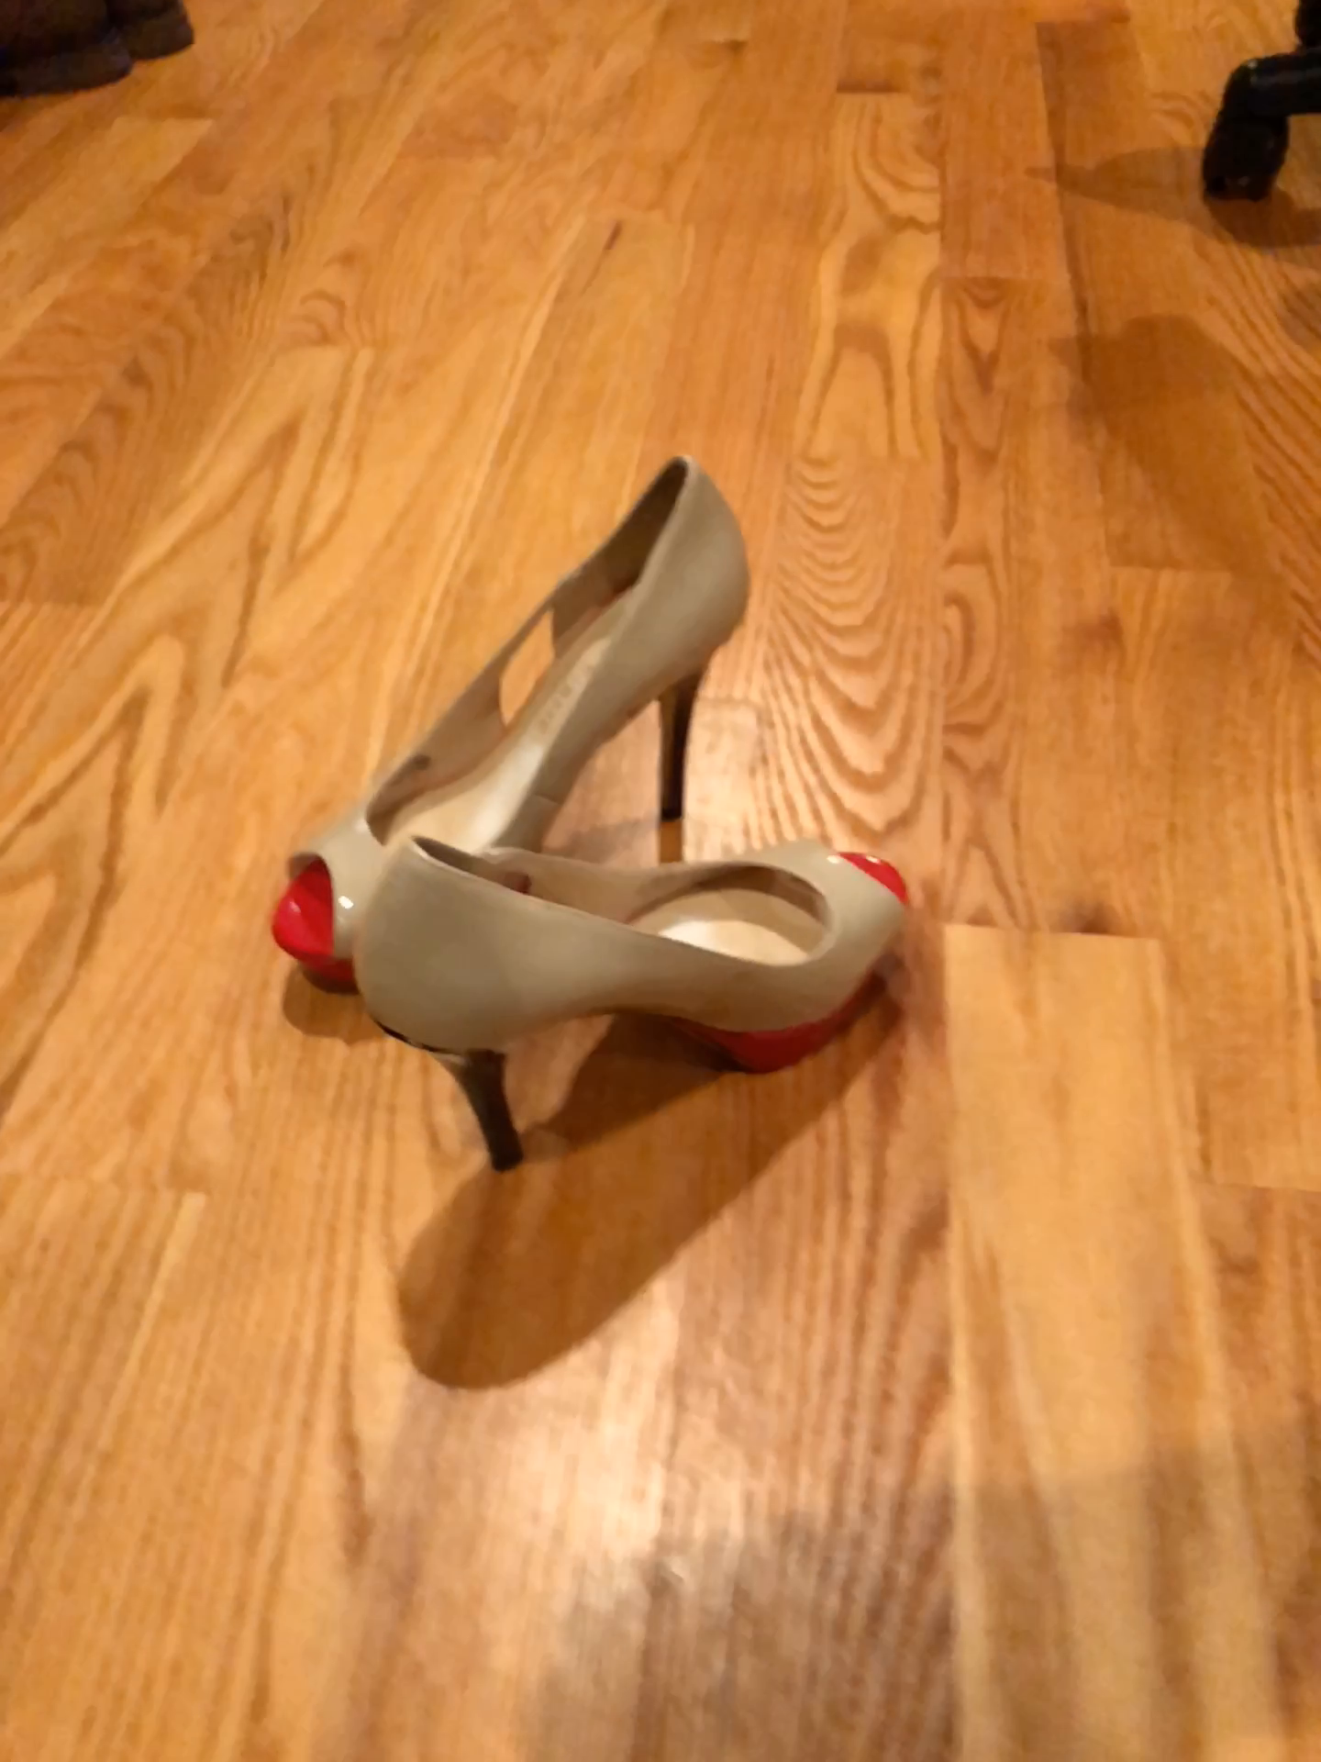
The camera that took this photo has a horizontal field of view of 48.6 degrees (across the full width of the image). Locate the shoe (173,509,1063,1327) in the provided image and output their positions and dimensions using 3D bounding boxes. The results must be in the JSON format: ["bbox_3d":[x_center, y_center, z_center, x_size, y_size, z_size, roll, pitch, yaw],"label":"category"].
[{"bbox_3d":[-0.003,0.006,0.418,0.215,0.129,0.085,-28,51,-21],"label":"shoe"}]

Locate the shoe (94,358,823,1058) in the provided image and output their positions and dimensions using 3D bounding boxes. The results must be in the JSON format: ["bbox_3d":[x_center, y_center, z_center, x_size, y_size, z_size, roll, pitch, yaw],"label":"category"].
[{"bbox_3d":[-0.055,-0.064,0.514,0.220,0.149,0.080,-30,51,-22],"label":"shoe"}]
